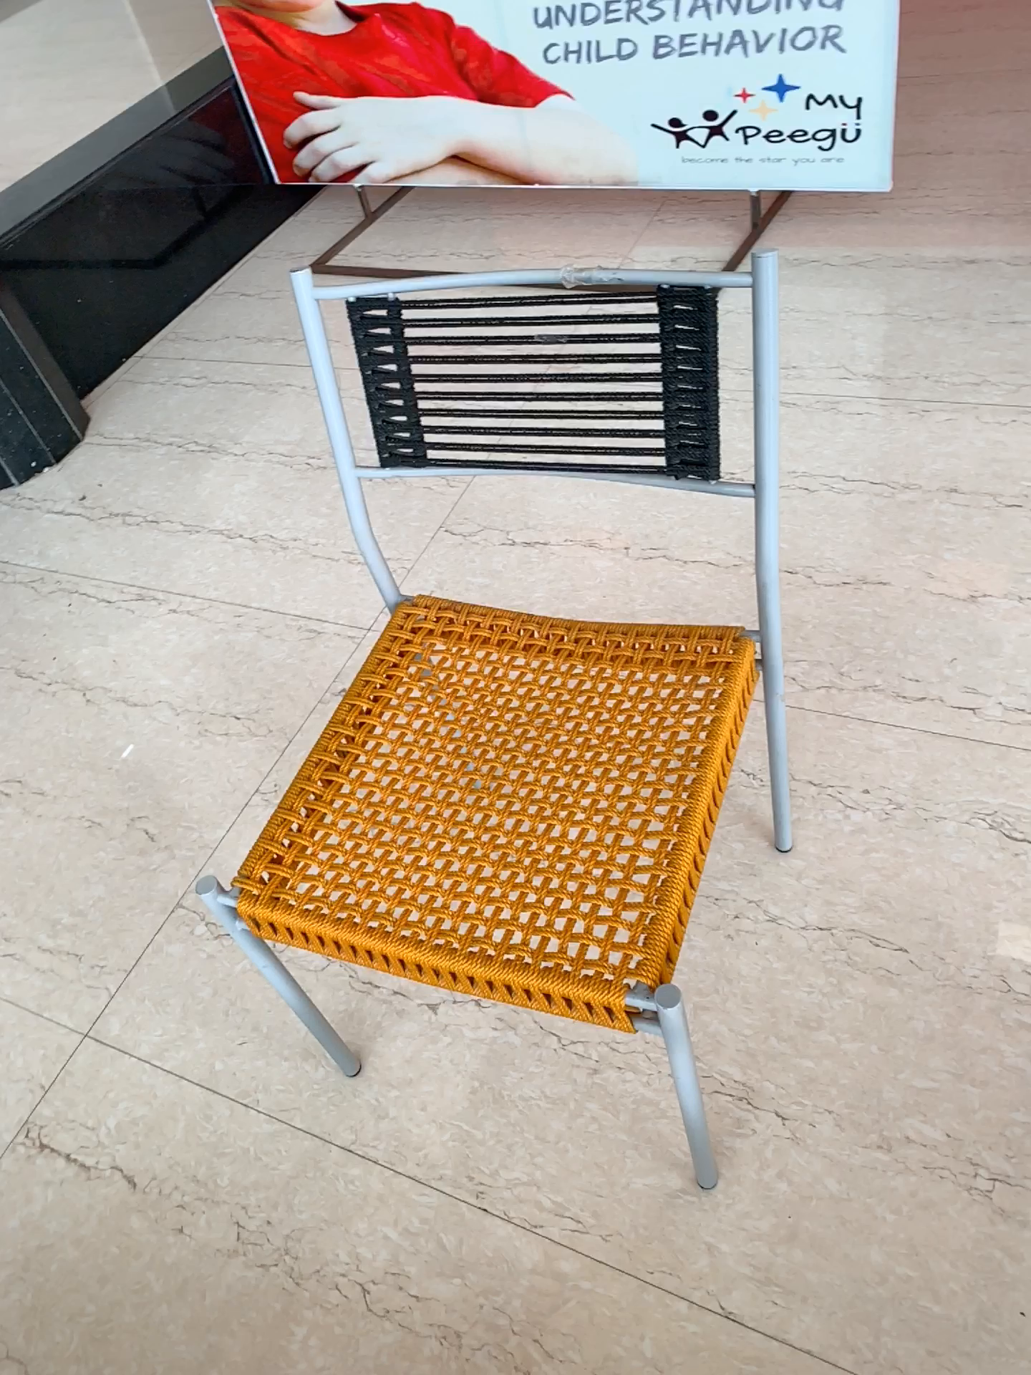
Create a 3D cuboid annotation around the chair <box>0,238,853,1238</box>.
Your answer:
[{"bbox_3d":[0.003,0.060,1.021,0.531,0.744,0.523,8,50,24],"label":"chair"}]
